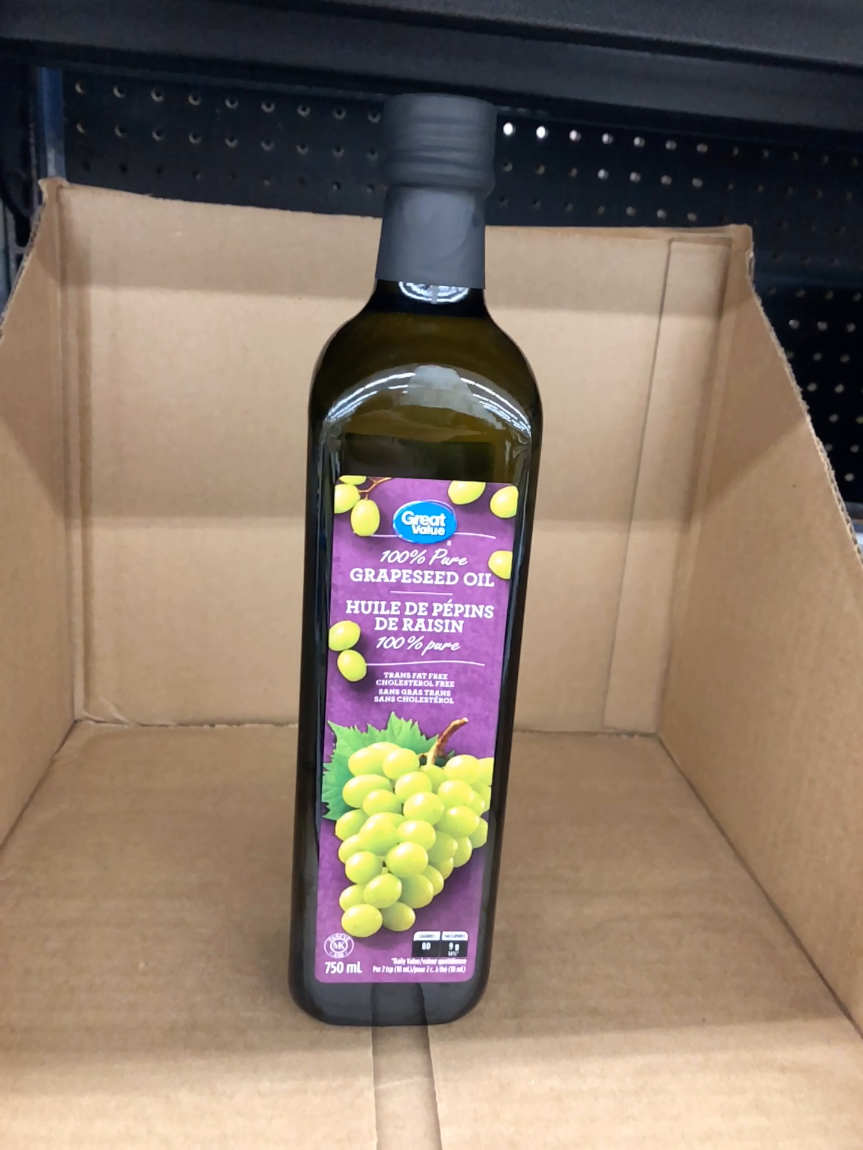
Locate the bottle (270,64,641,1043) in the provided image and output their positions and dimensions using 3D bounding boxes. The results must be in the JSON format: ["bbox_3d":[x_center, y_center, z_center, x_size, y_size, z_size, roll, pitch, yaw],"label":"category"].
[{"bbox_3d":[-0.004,0.008,0.291,0.080,0.278,0.060,2,19,-6],"label":"bottle"}]
